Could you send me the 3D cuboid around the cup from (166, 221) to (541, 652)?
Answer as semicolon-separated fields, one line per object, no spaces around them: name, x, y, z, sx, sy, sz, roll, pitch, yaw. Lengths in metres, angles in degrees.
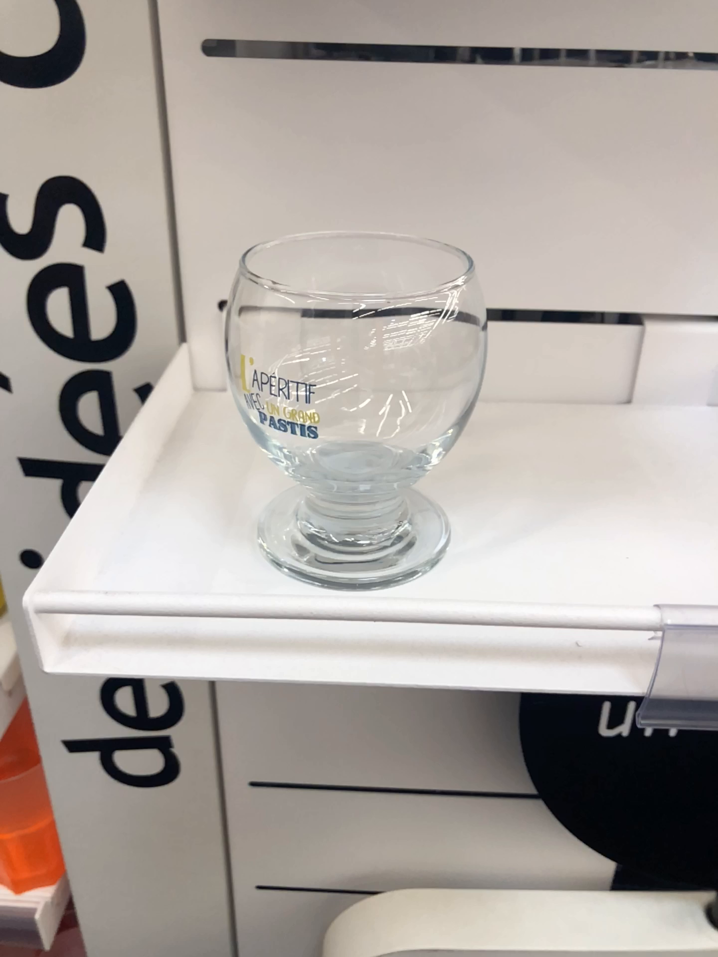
cup;0.001;-0.019;0.241;0.073;0.093;0.079;1;28;-1
